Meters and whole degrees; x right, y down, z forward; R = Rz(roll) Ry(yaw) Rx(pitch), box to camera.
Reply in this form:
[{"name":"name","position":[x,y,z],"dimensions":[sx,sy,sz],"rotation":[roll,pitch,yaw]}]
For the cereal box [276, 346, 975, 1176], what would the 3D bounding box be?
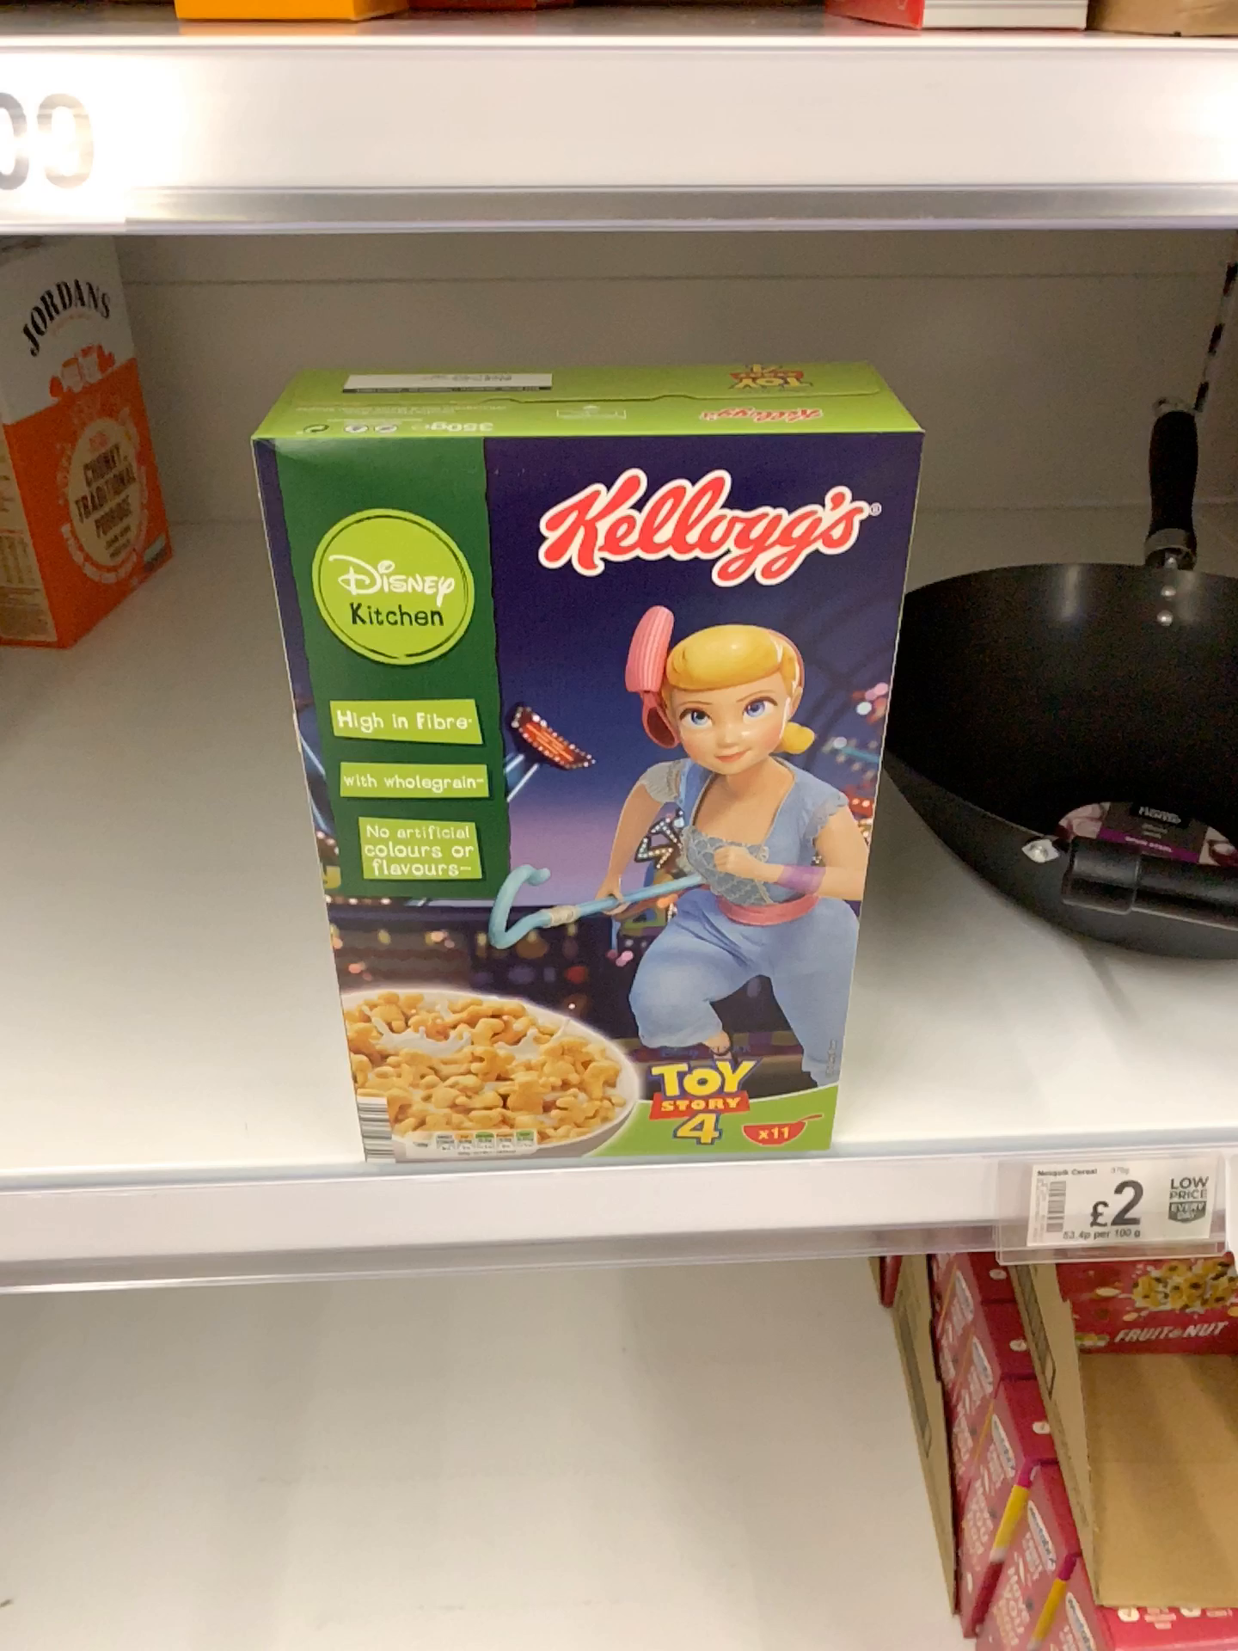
[{"name":"cereal box","position":[0.001,-0.008,0.460],"dimensions":[0.190,0.297,0.081],"rotation":[-1,33,-2]}]
